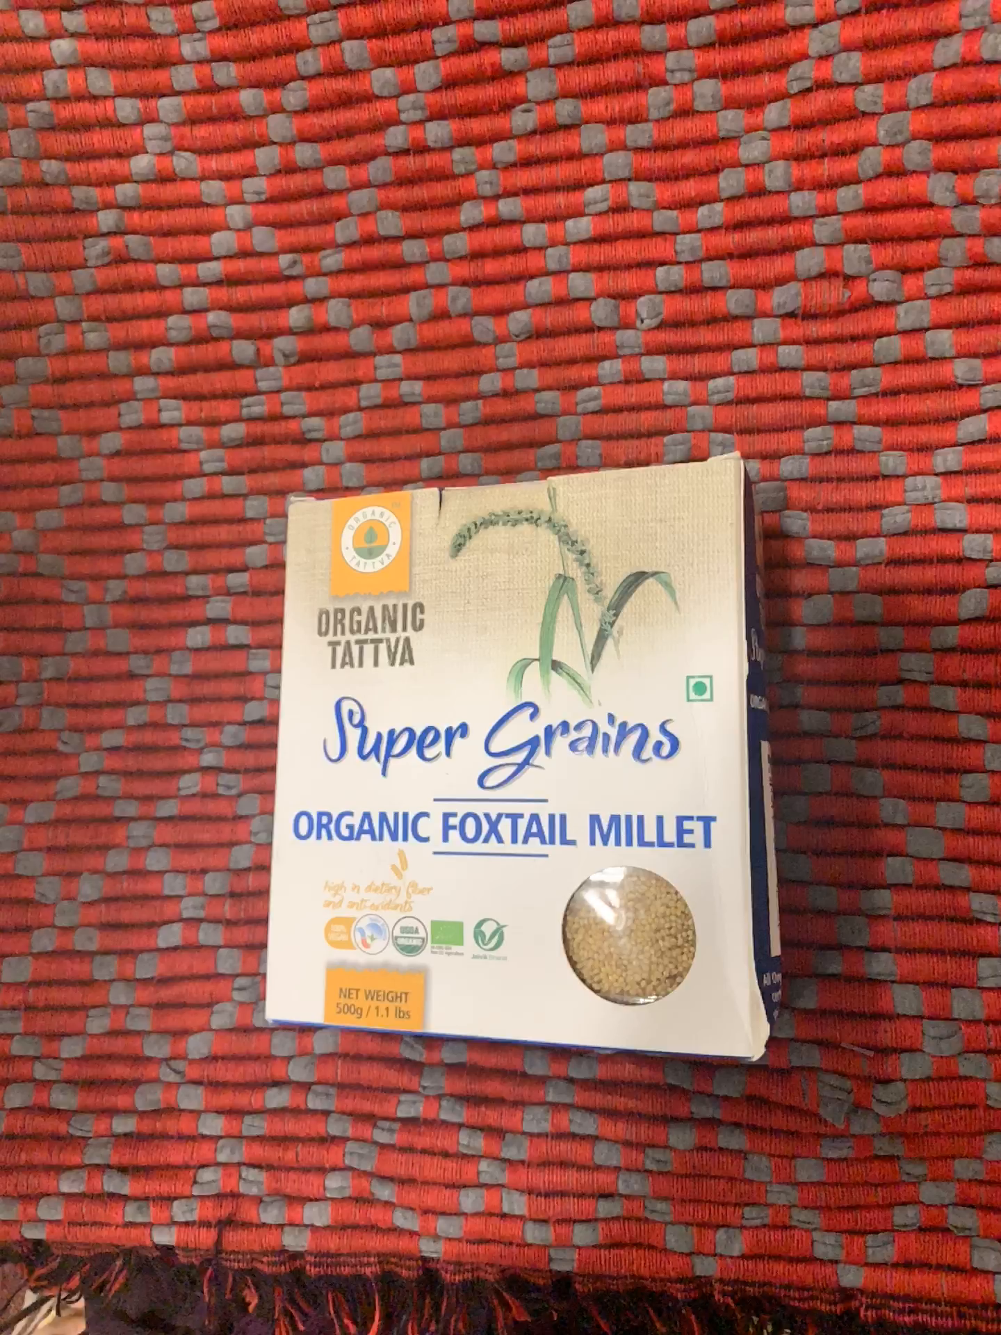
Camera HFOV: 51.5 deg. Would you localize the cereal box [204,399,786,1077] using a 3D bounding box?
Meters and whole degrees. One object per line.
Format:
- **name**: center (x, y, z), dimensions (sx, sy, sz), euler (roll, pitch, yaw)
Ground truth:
- **cereal box**: center (0.000, 0.019, 0.281), dimensions (0.140, 0.060, 0.150), euler (-2, 82, 20)
